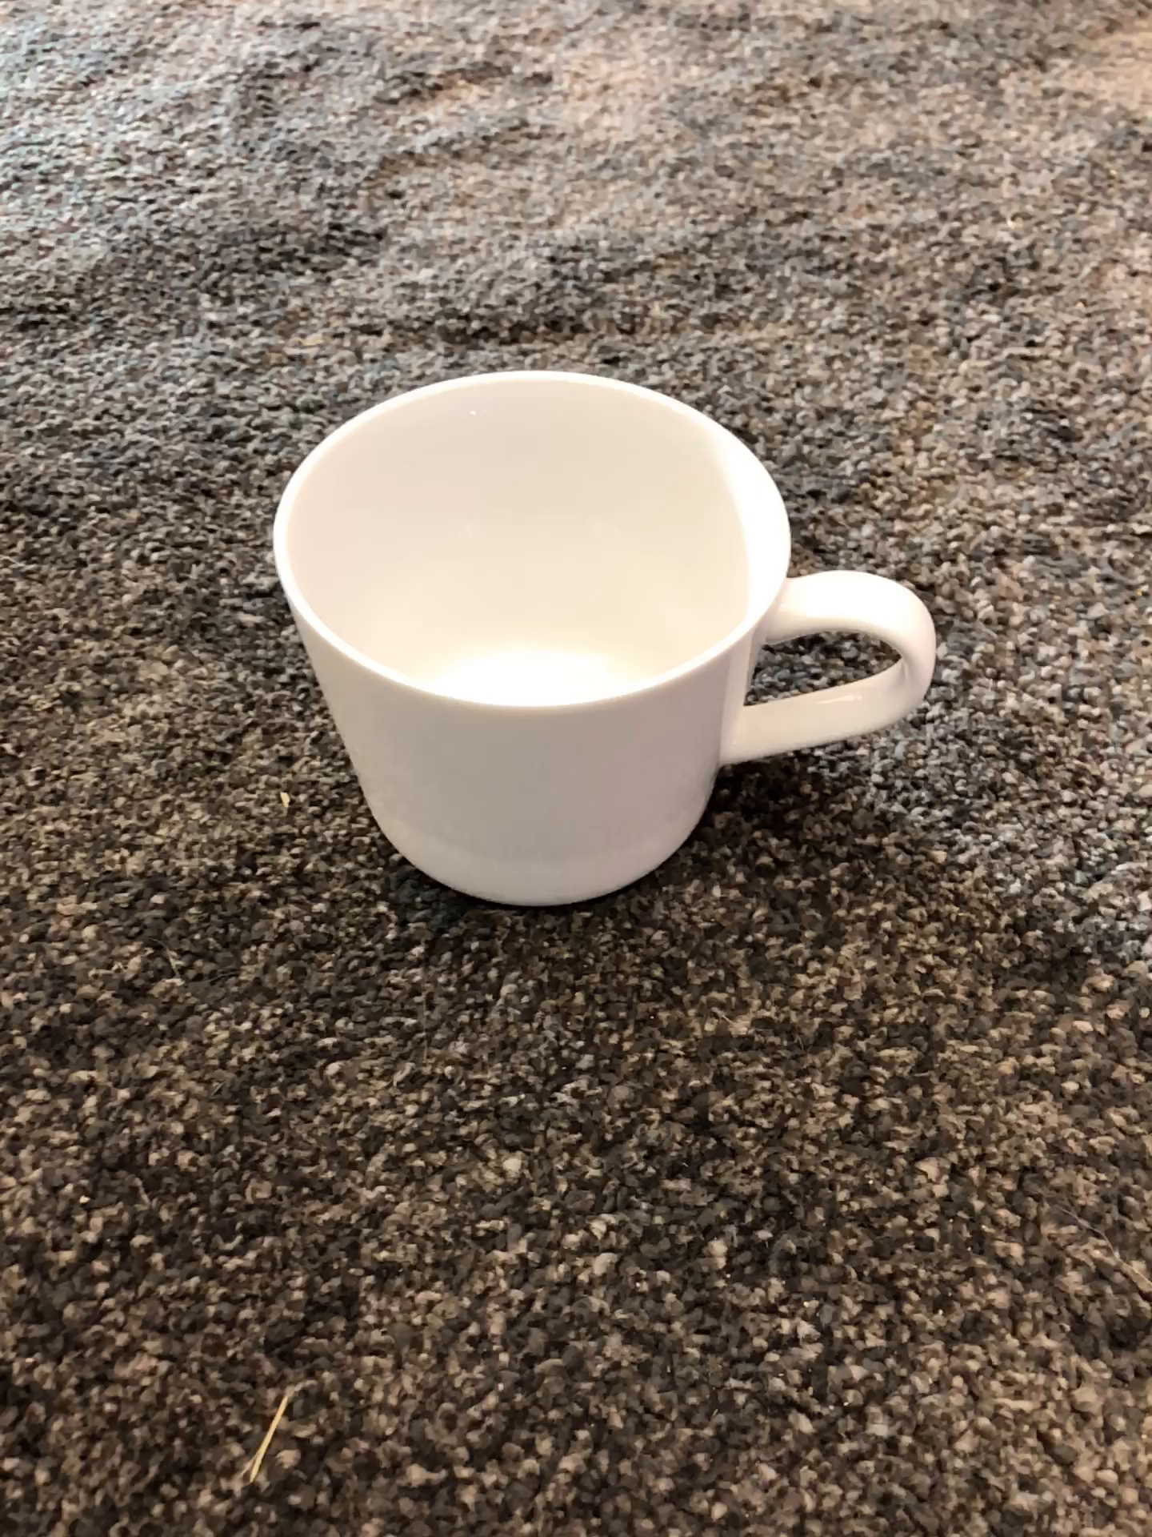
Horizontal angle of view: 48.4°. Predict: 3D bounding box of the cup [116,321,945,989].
[{"bbox_3d":[-0.001,-0.027,0.274,0.140,0.080,0.100,7,50,8],"label":"cup"}]
